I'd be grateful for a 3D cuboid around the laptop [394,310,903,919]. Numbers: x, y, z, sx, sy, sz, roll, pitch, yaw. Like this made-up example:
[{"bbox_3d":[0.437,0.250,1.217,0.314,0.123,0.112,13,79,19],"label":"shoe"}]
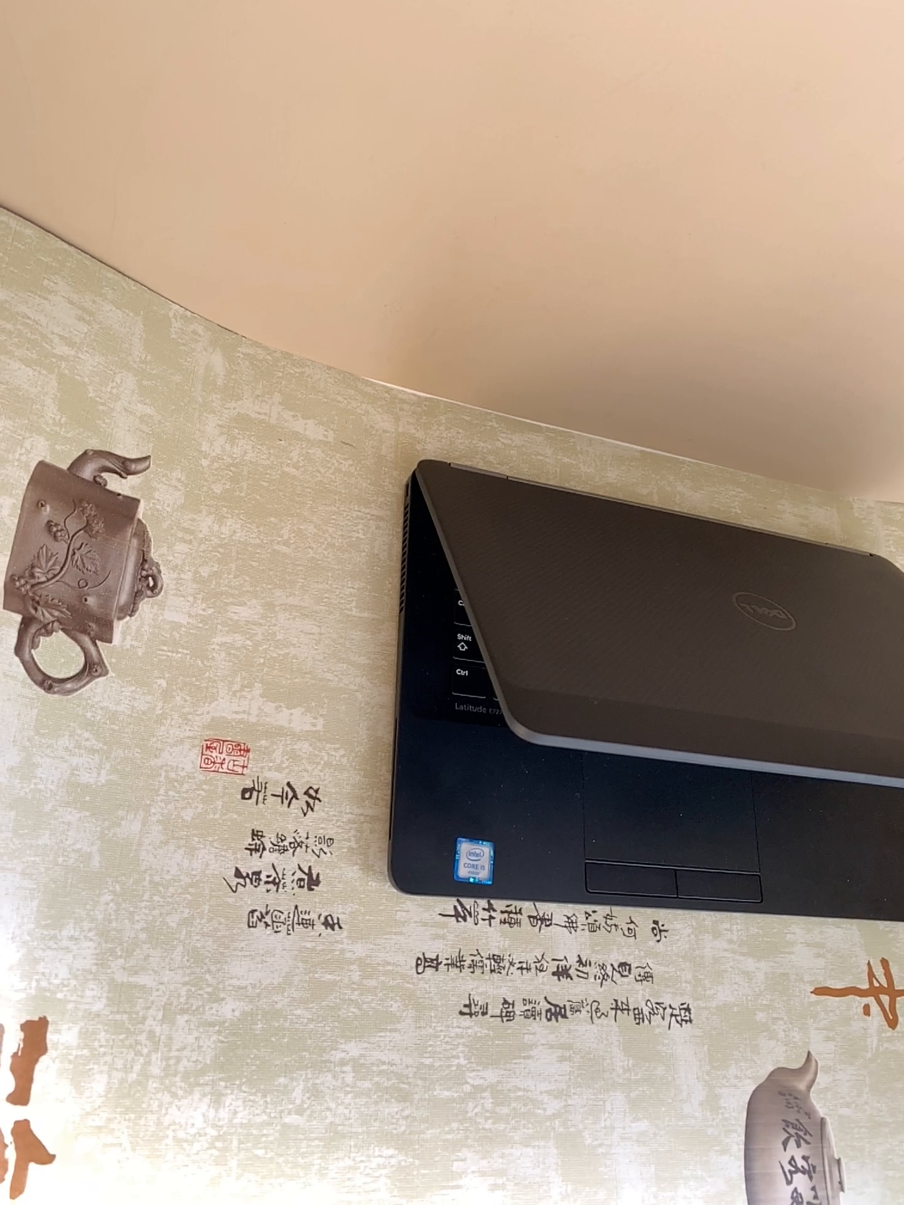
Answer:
[{"bbox_3d":[0.145,0.028,0.435,0.309,0.136,0.212,9,66,-19],"label":"laptop"}]
